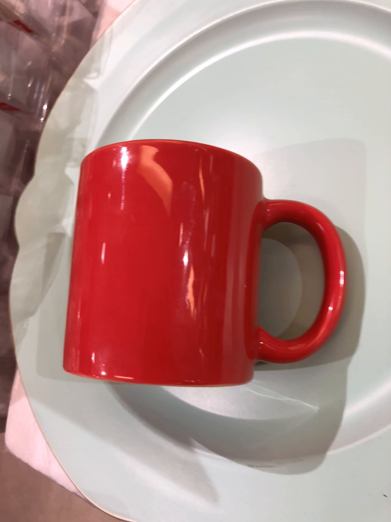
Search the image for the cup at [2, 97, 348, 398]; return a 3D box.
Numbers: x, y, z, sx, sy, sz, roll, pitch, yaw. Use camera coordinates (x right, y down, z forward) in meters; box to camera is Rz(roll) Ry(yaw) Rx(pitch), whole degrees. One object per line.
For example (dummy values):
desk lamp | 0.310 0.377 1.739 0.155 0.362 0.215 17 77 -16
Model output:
cup | -0.005 -0.002 0.179 0.110 0.060 0.100 0 79 0
